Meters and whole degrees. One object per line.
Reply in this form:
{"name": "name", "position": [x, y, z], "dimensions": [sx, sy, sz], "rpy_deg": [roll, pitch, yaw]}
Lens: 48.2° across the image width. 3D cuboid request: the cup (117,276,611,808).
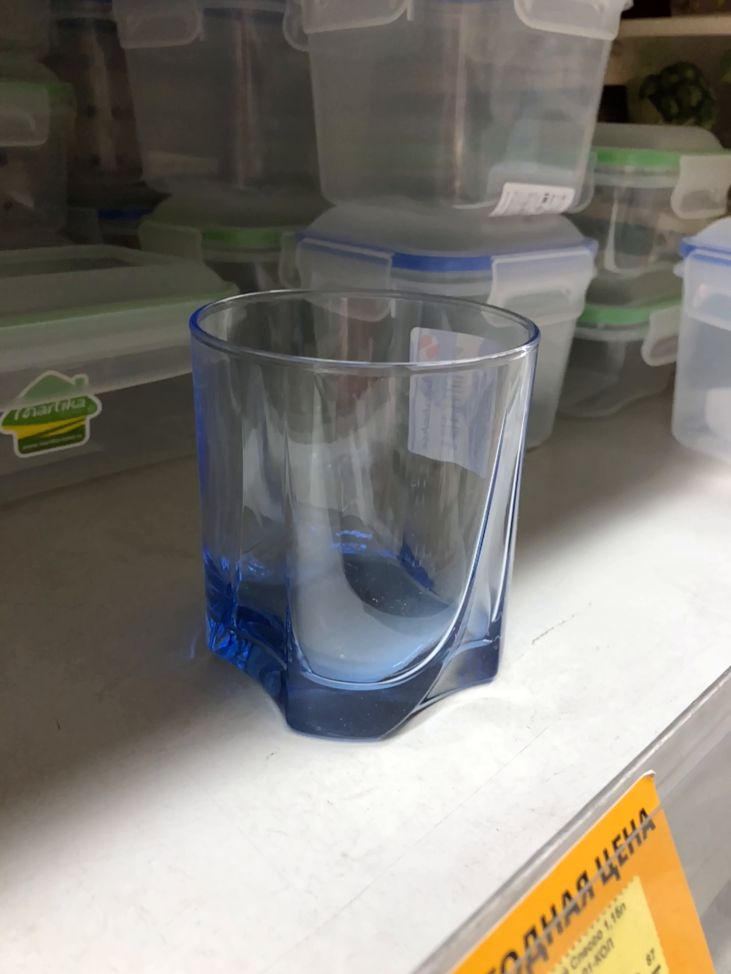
{"name": "cup", "position": [-0.002, 0.003, 0.213], "dimensions": [0.085, 0.095, 0.083], "rpy_deg": [0, 23, 0]}
